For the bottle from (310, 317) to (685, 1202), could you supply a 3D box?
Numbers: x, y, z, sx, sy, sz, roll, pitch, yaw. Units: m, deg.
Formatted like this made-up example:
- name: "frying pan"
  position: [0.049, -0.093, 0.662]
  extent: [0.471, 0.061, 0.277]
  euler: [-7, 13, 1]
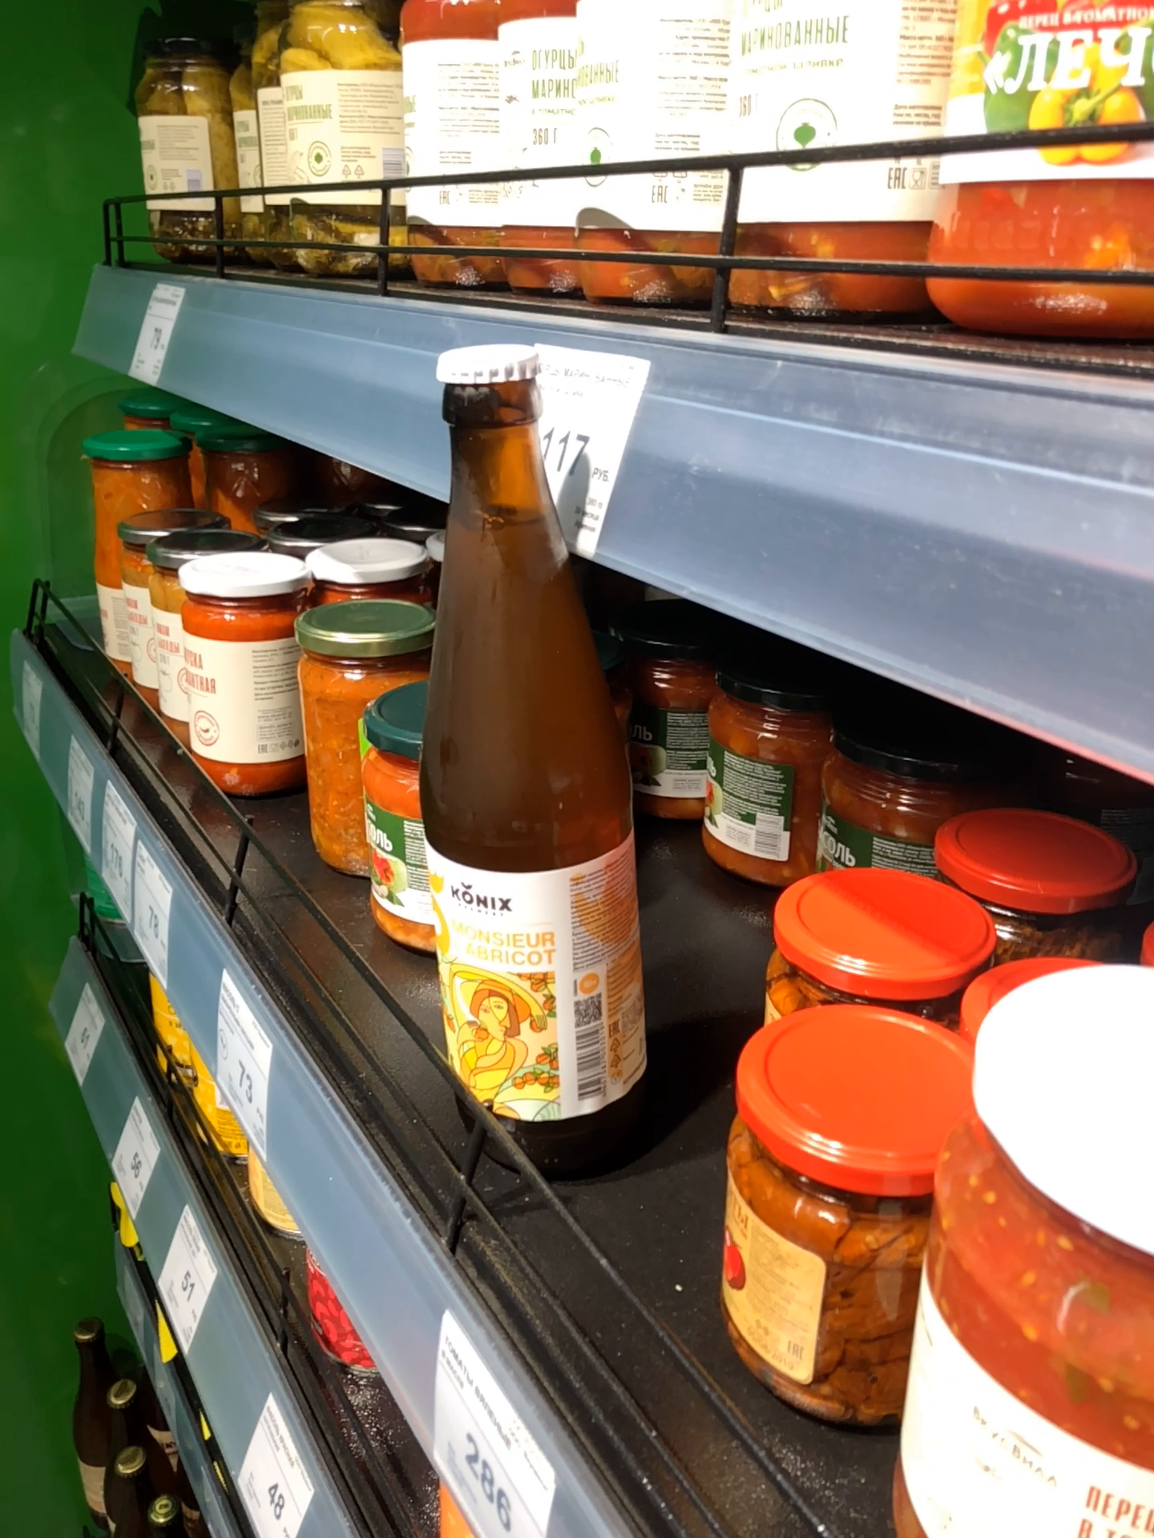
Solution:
- name: "bottle"
  position: [-0.017, -0.001, 0.383]
  extent: [0.070, 0.249, 0.070]
  euler: [-1, 24, 1]
